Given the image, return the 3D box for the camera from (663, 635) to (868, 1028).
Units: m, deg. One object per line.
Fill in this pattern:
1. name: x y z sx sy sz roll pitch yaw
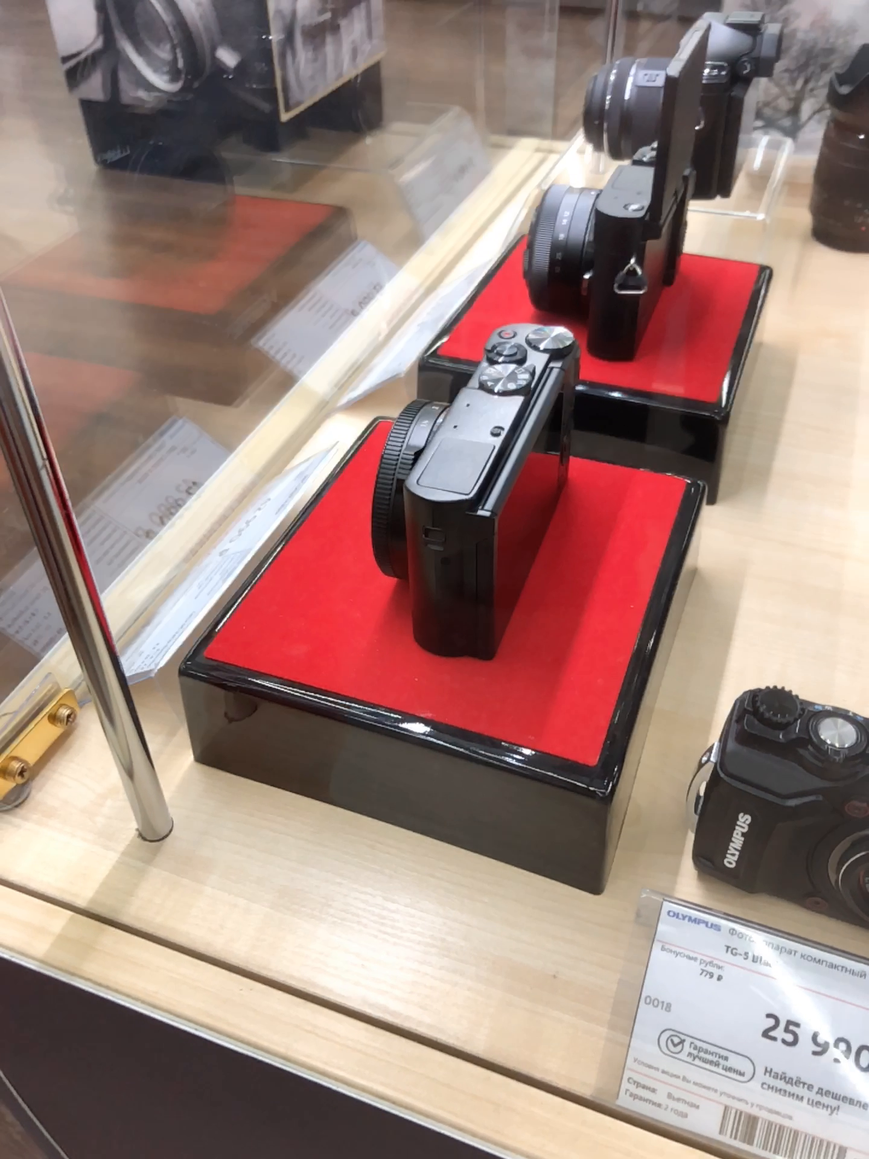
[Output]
1. camera: 0.124 0.066 0.255 0.110 0.072 0.033 15 44 18

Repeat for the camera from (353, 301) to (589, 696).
1. camera: 0.016 -0.030 0.309 0.040 0.070 0.111 11 43 14

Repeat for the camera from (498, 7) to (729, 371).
1. camera: 0.077 -0.172 0.421 0.066 0.112 0.111 13 43 16
